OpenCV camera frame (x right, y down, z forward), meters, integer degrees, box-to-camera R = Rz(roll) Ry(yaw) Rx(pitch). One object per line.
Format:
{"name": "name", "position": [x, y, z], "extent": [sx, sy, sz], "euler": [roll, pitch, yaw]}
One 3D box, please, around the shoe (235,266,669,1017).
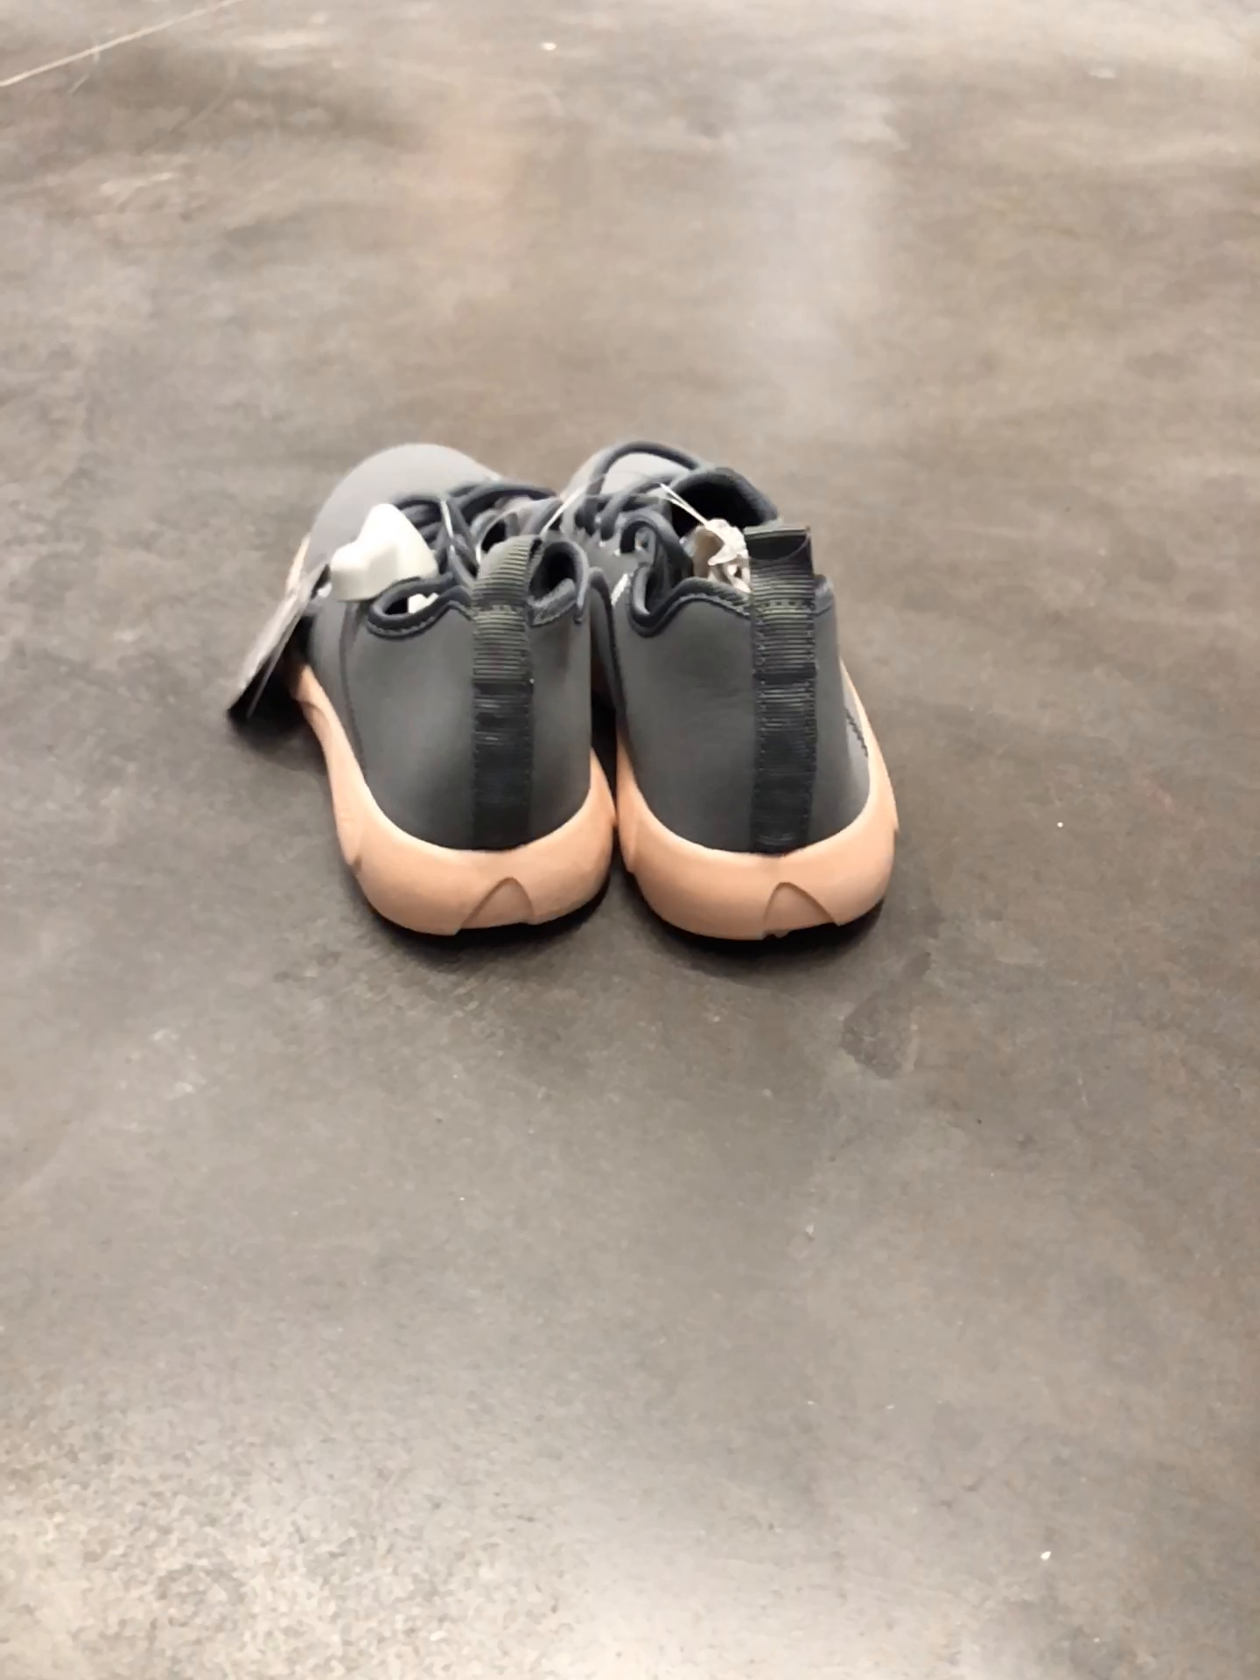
{"name": "shoe", "position": [-0.062, -0.076, 0.414], "extent": [0.090, 0.099, 0.241], "euler": [-8, 41, -10]}

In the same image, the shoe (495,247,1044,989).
{"name": "shoe", "position": [0.022, -0.083, 0.413], "extent": [0.090, 0.099, 0.241], "euler": [-7, 41, -8]}
